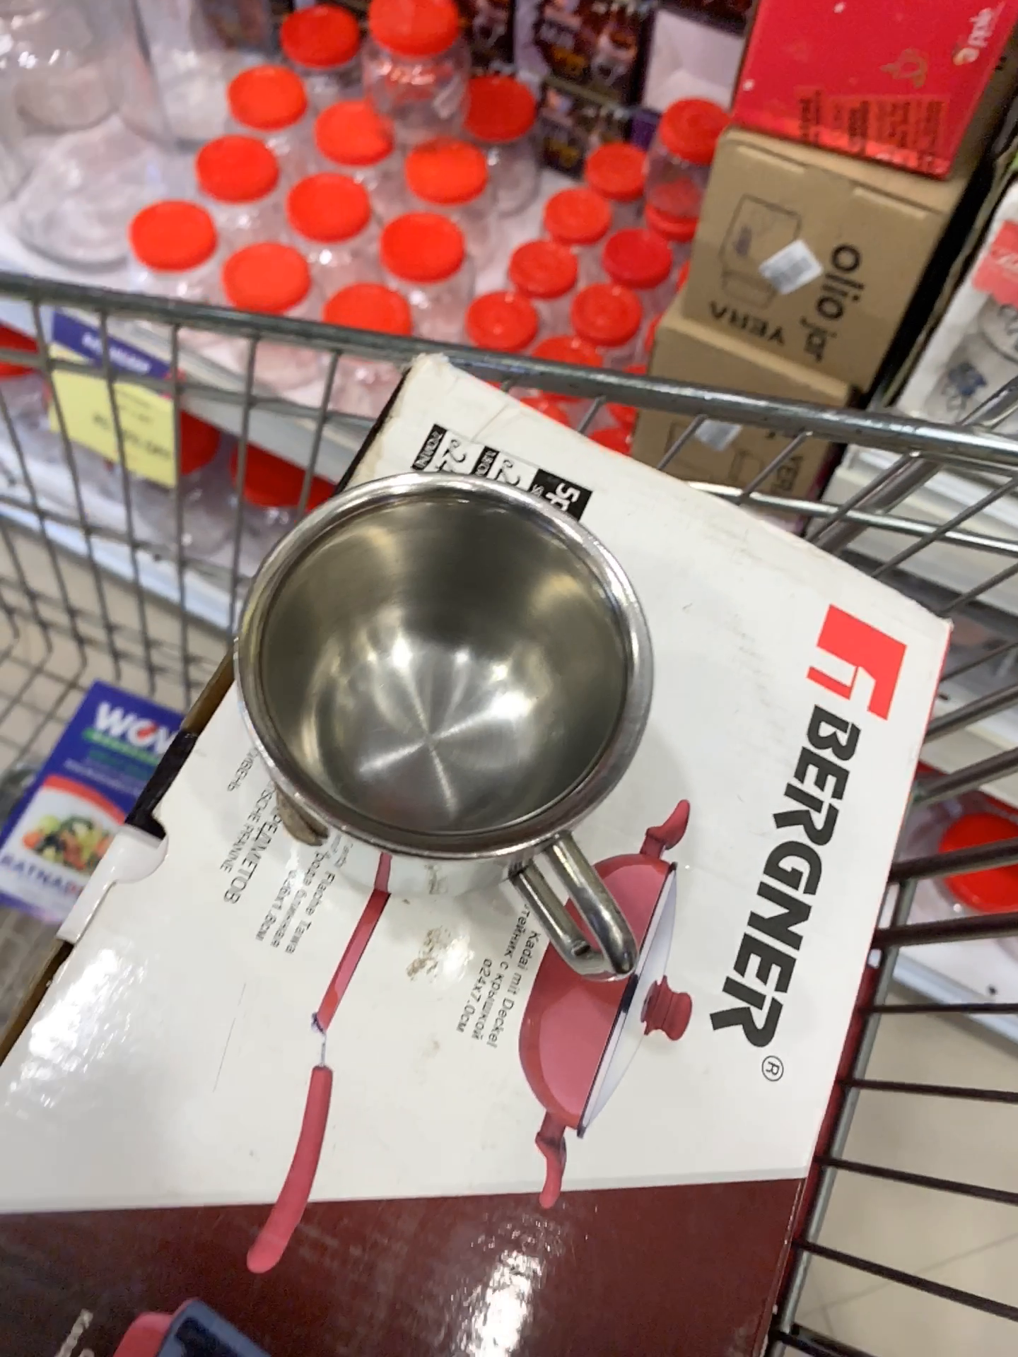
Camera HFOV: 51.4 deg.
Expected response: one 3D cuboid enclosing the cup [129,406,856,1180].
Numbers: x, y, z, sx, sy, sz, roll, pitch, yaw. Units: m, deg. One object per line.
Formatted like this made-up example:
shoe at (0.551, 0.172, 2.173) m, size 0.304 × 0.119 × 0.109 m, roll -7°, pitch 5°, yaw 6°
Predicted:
cup at (-0.006, 0.017, 0.163) m, size 0.060 × 0.050 × 0.090 m, roll -26°, pitch 68°, yaw -15°
